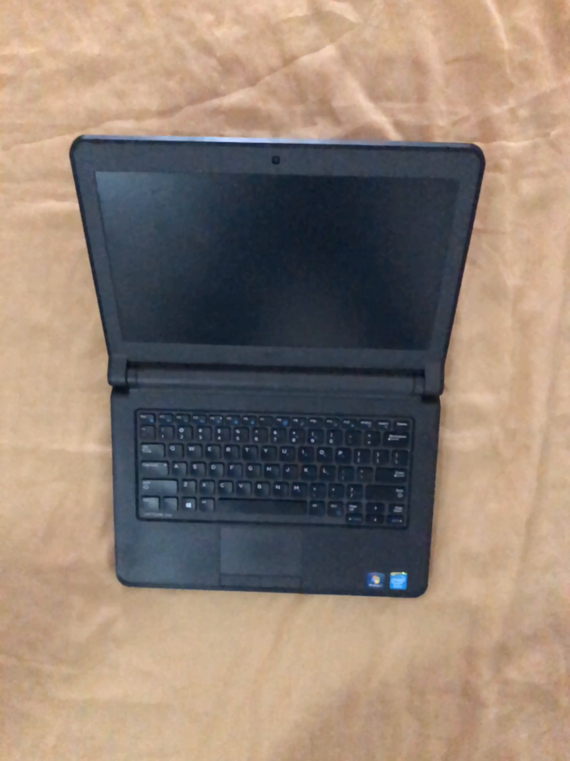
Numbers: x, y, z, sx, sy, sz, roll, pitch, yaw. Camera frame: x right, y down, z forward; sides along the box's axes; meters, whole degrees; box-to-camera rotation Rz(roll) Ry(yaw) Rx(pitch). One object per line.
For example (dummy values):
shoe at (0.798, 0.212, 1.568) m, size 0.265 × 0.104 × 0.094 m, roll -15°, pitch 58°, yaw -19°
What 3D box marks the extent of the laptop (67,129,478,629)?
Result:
laptop at (-0.013, 0.007, 0.558) m, size 0.308 × 0.092 × 0.409 m, roll 1°, pitch 102°, yaw 1°
